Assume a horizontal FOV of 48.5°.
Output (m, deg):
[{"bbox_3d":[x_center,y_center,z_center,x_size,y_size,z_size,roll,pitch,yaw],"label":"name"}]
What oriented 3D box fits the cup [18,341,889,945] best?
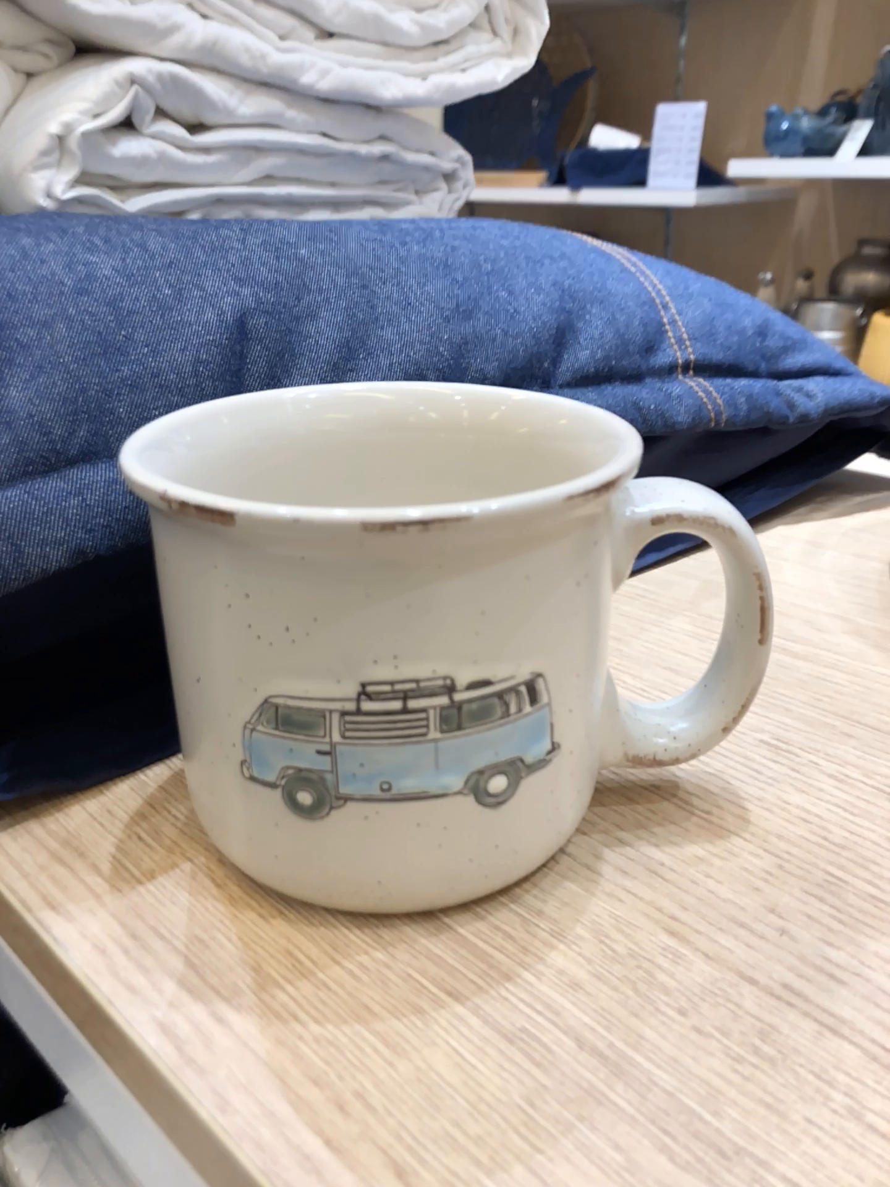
[{"bbox_3d":[0.005,0.001,0.213,0.140,0.089,0.101,-2,23,-3],"label":"cup"}]
